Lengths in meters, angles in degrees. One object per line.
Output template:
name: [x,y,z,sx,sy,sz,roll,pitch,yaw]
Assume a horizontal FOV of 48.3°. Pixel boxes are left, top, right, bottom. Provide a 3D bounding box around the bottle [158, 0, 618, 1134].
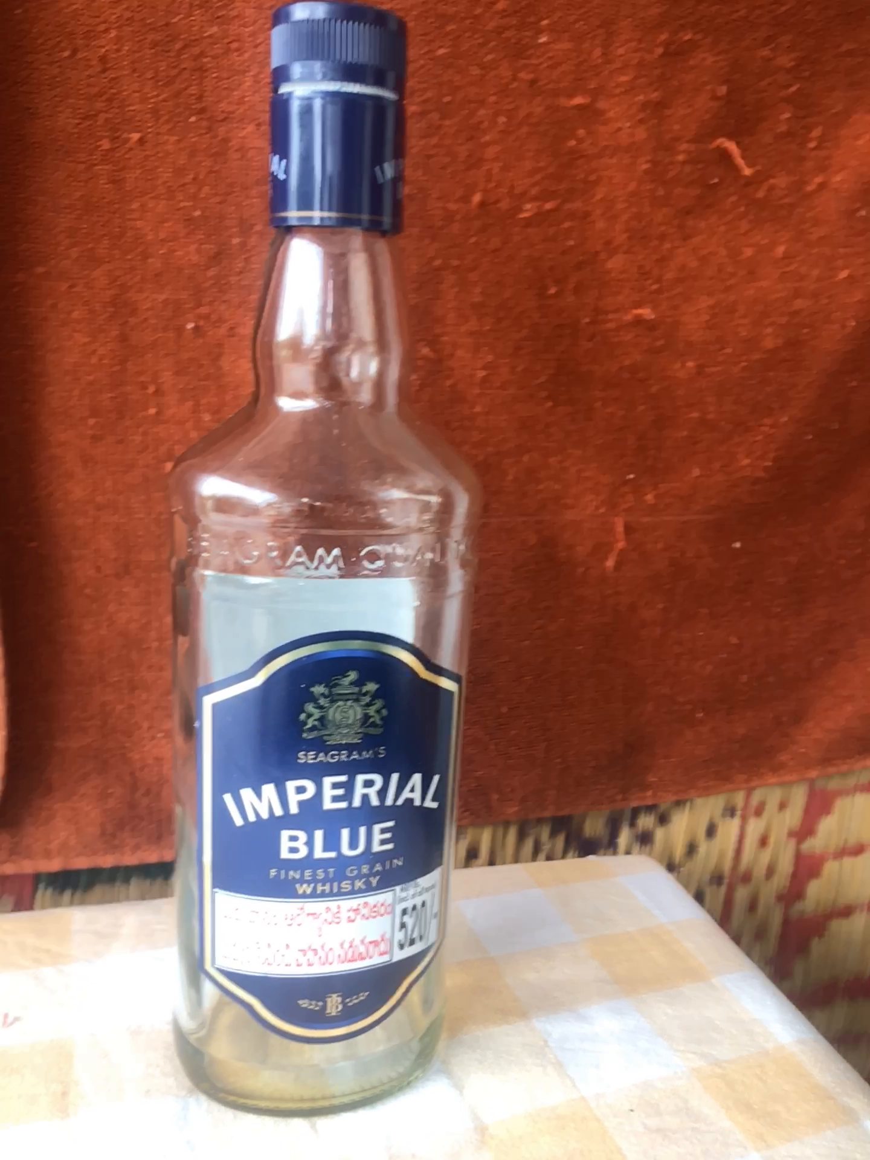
bottle: [-0.026,-0.006,0.269,0.090,0.309,0.070,2,15,-13]
